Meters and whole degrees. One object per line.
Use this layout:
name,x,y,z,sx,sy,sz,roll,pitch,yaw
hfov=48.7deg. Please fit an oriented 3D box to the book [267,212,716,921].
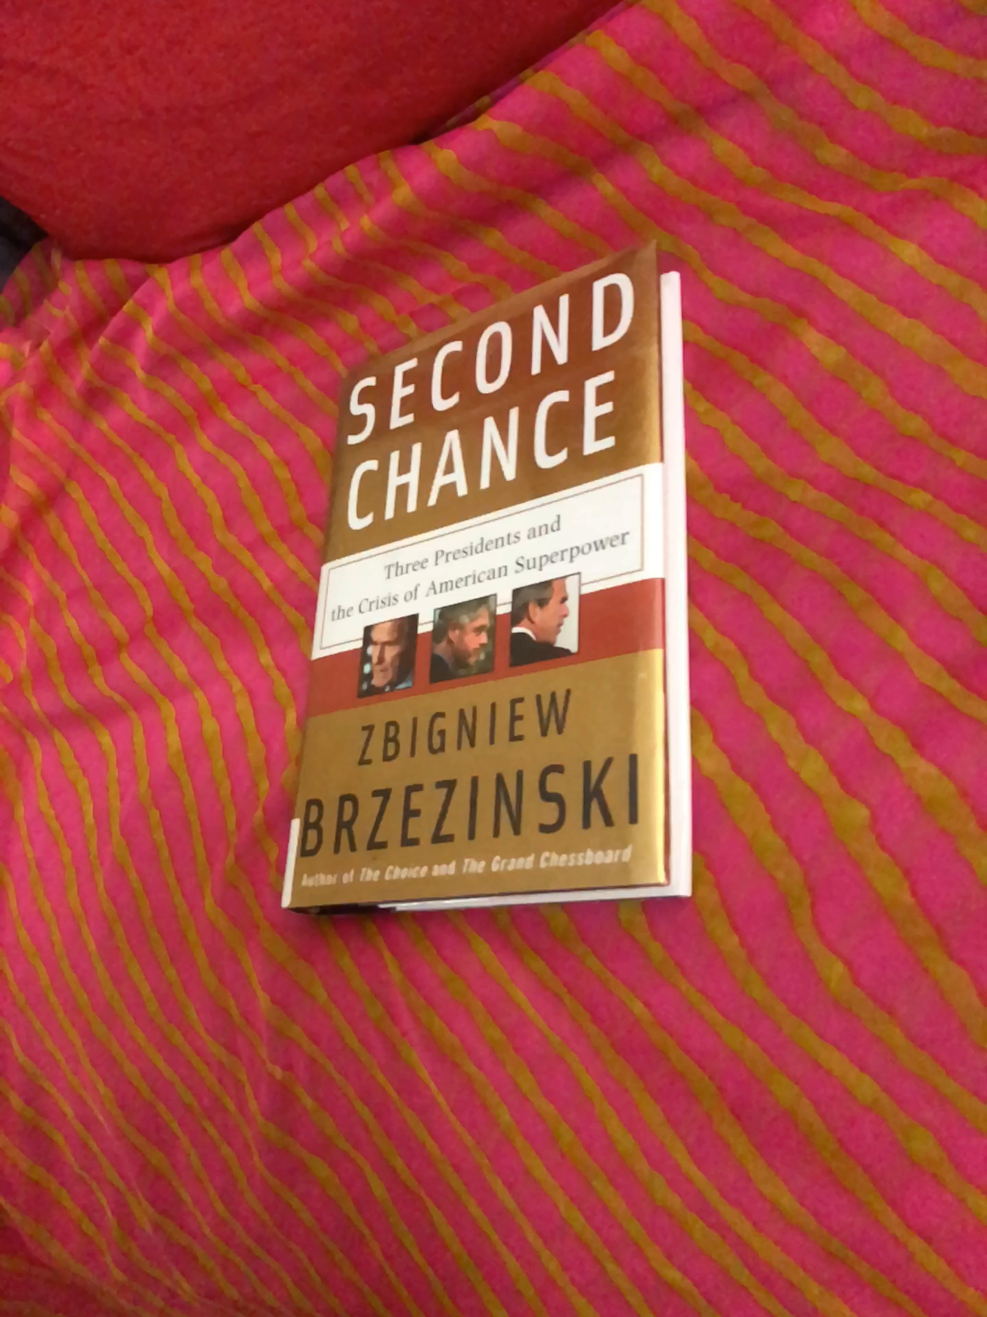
book,-0.003,-0.023,0.353,0.141,0.037,0.200,-14,64,38
